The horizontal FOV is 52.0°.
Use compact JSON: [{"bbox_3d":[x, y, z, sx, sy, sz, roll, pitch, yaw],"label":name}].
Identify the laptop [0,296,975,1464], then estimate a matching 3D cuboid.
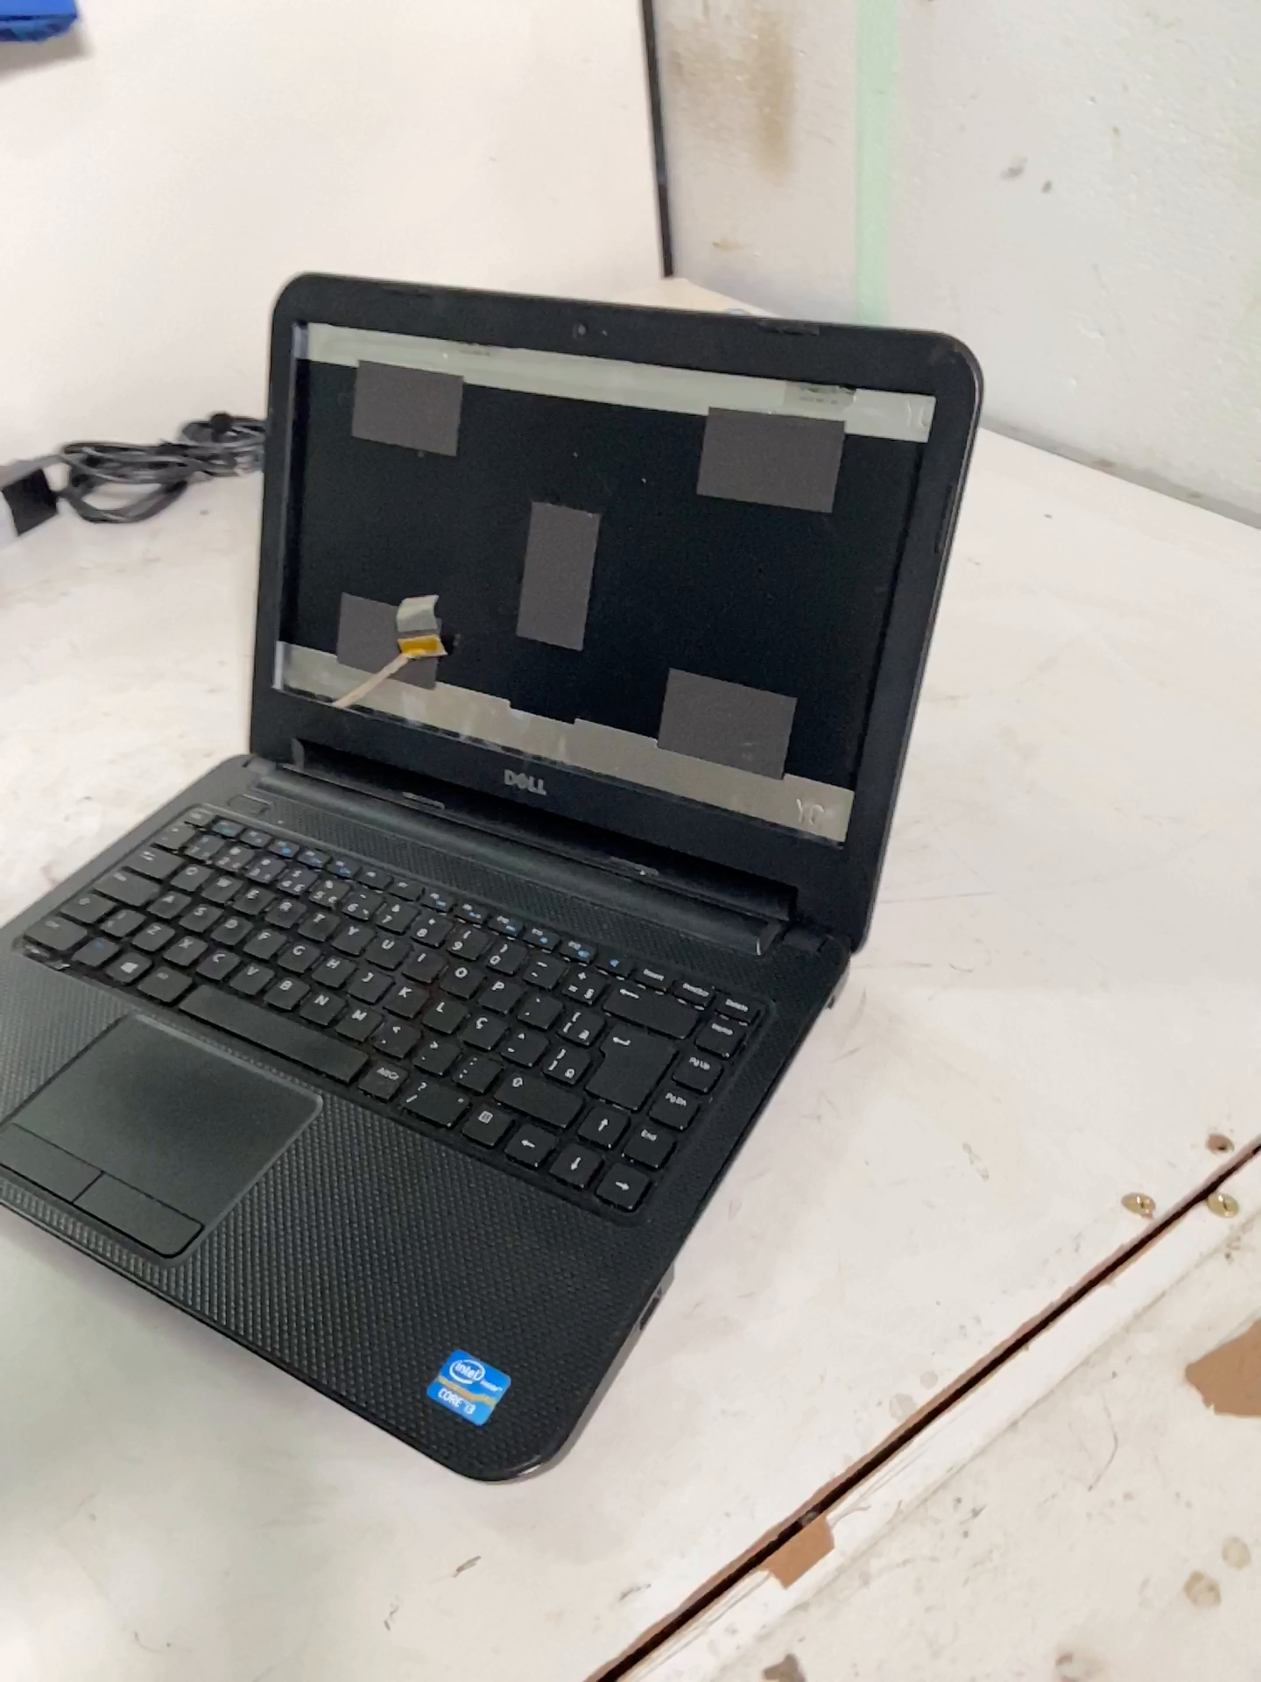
[{"bbox_3d":[-0.092,-0.039,0.476,0.320,0.193,0.336,16,44,26],"label":"laptop"}]
